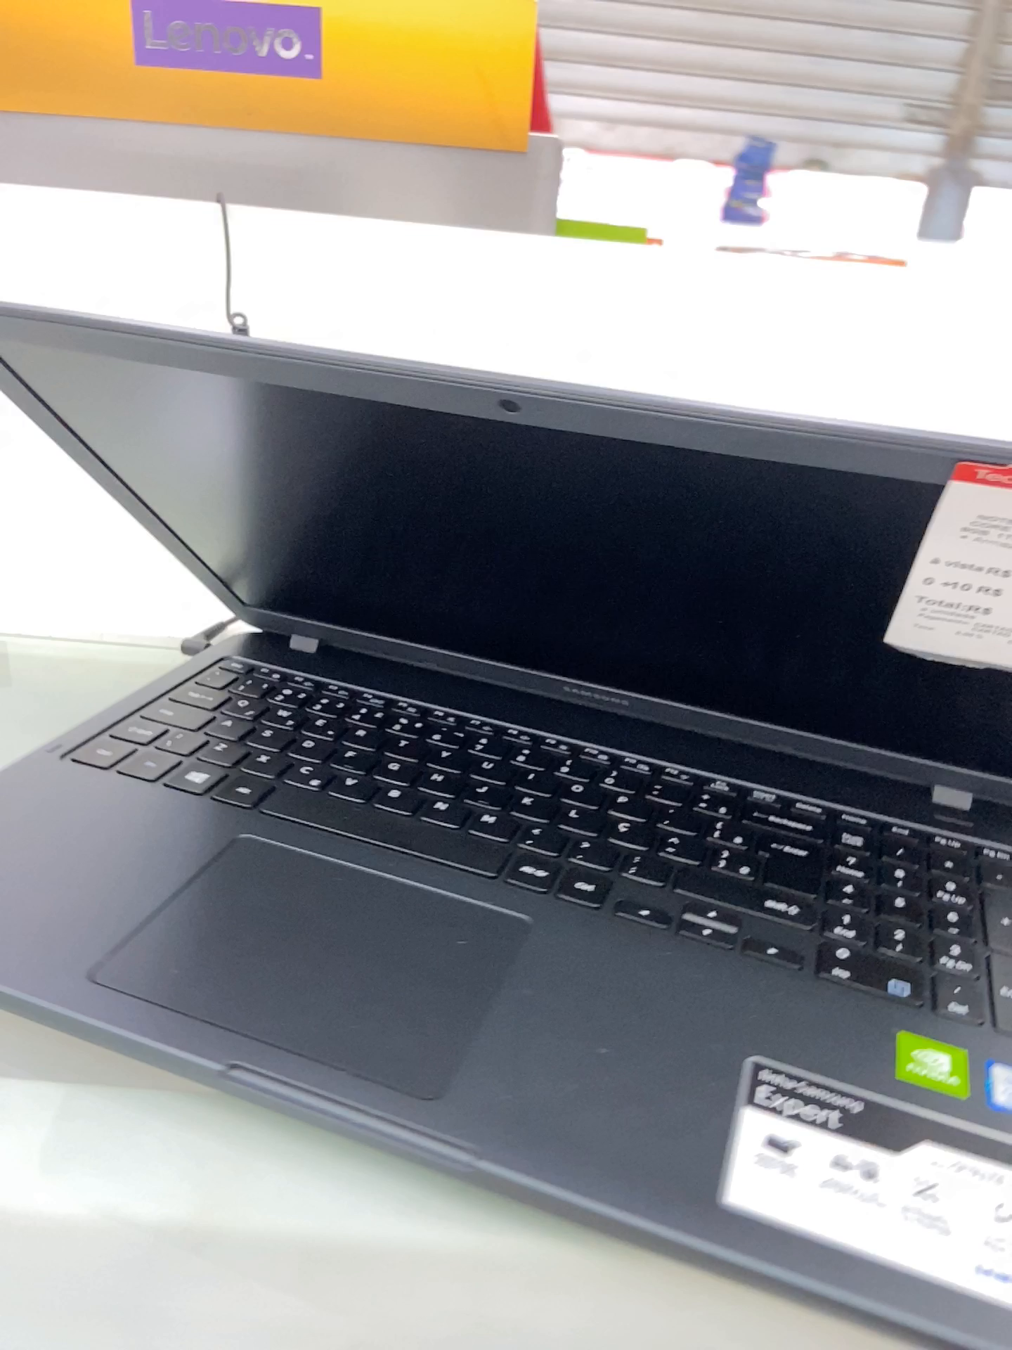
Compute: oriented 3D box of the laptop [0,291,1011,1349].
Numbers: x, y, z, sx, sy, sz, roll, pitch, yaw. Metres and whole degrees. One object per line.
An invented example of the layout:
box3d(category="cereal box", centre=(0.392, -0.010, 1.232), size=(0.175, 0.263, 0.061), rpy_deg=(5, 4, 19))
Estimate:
box3d(category="laptop", centre=(0.007, -0.010, 0.327), size=(0.357, 0.158, 0.232), rpy_deg=(12, 26, 16))
